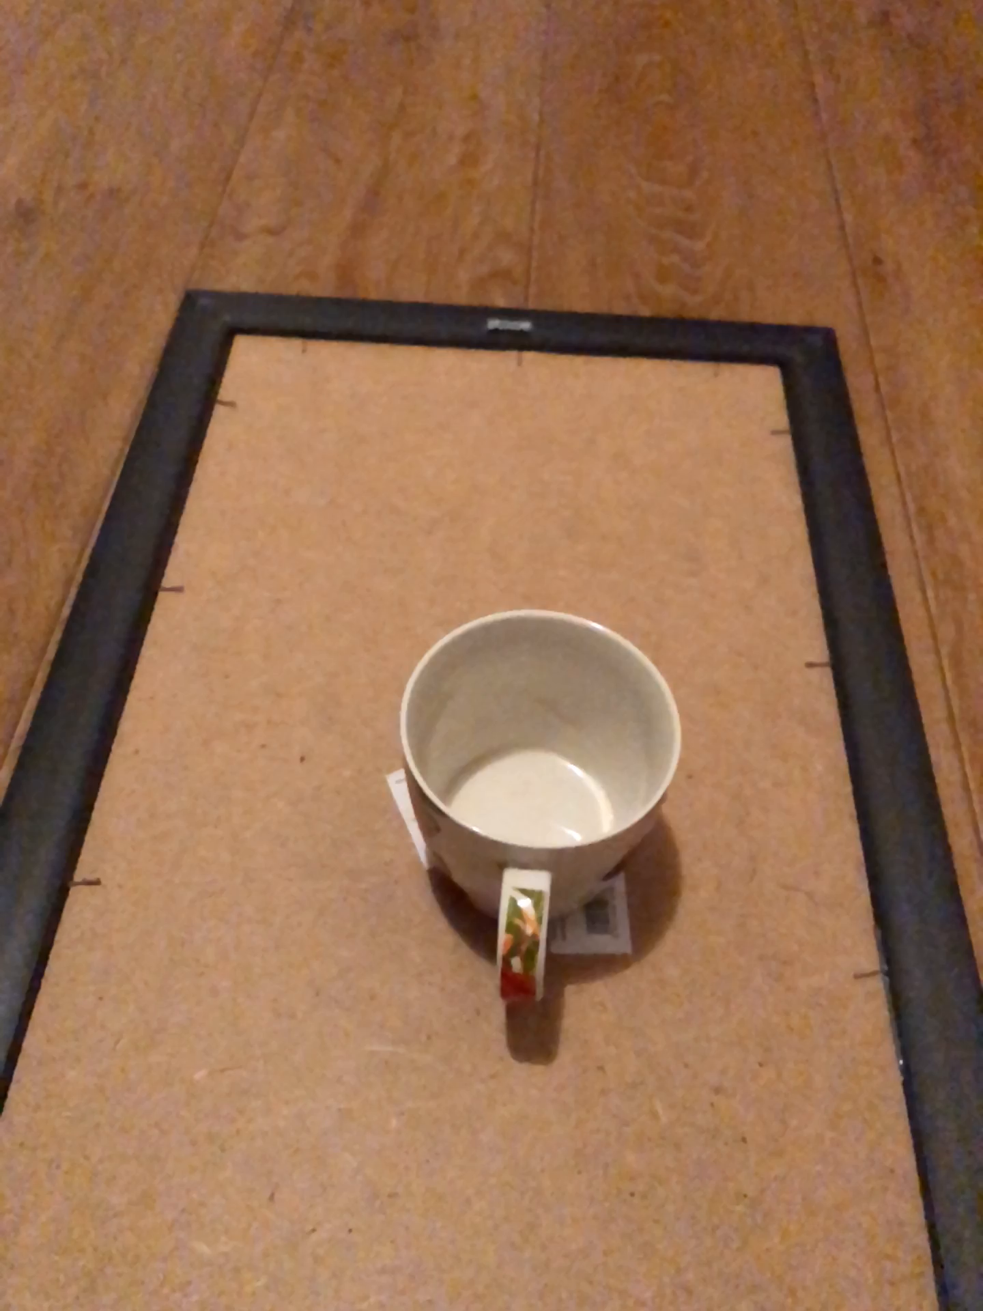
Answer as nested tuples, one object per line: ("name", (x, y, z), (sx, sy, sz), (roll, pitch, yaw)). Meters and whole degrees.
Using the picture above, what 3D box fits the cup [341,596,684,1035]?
("cup", (0.008, 0.055, 0.378), (0.098, 0.080, 0.122), (4, 53, 0))
